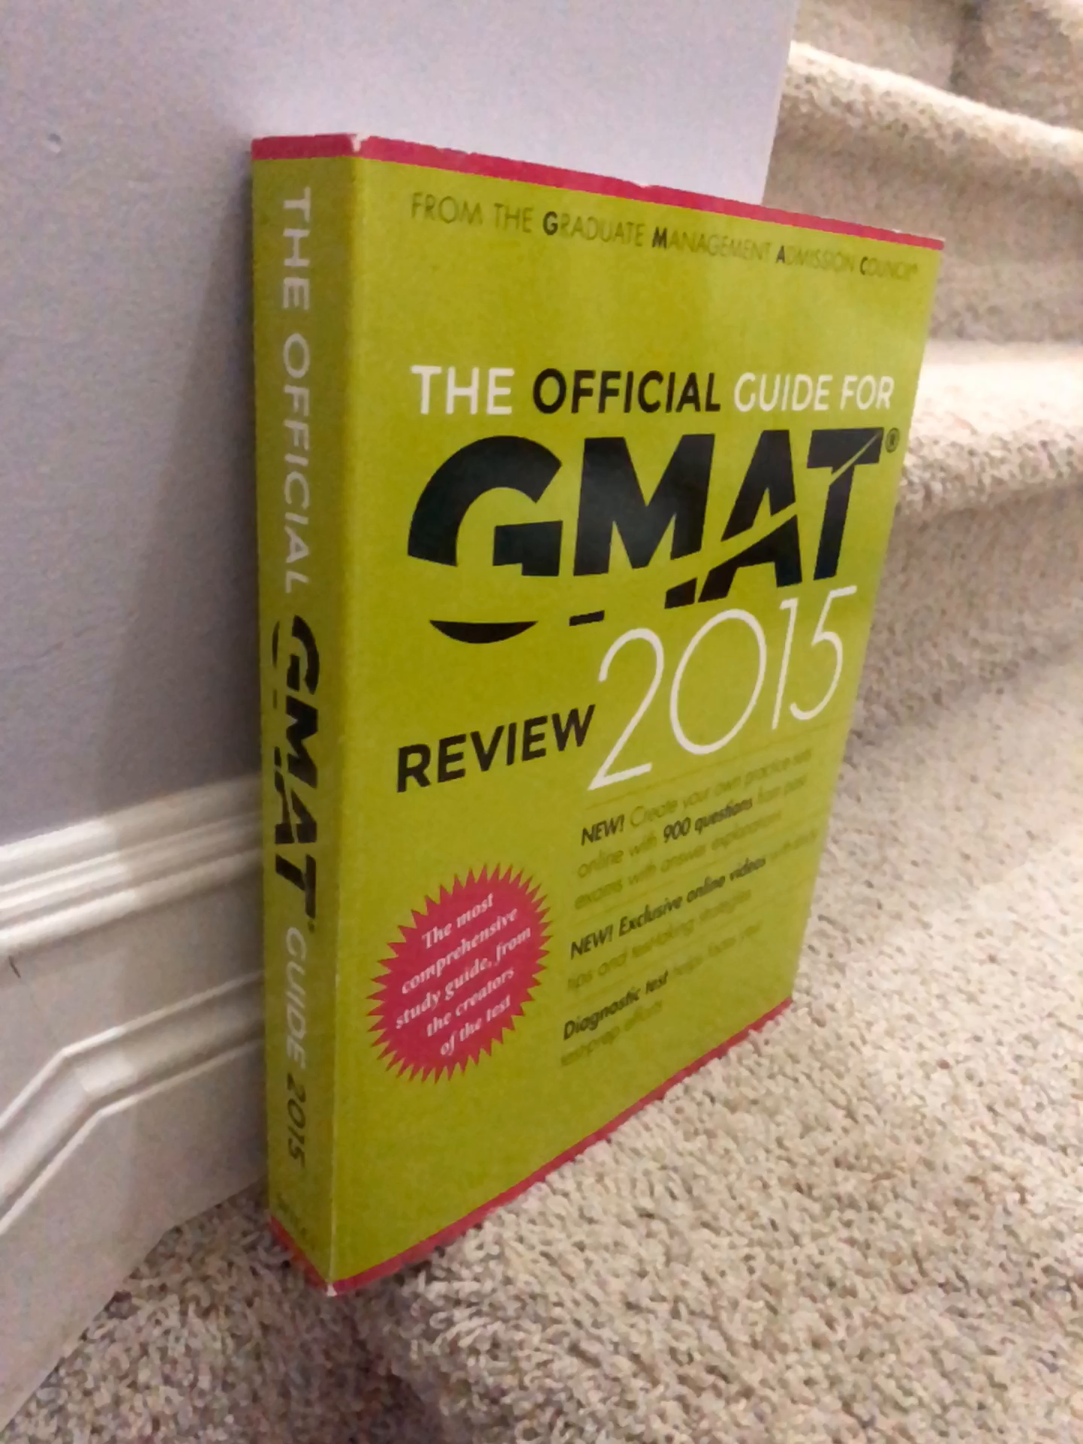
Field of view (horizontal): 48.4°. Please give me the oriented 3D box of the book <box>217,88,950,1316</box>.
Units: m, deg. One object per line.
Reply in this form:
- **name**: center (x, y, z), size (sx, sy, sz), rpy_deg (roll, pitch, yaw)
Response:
- **book**: center (0.024, -0.011, 0.352), size (0.040, 0.277, 0.236), rpy_deg (20, 25, 39)
